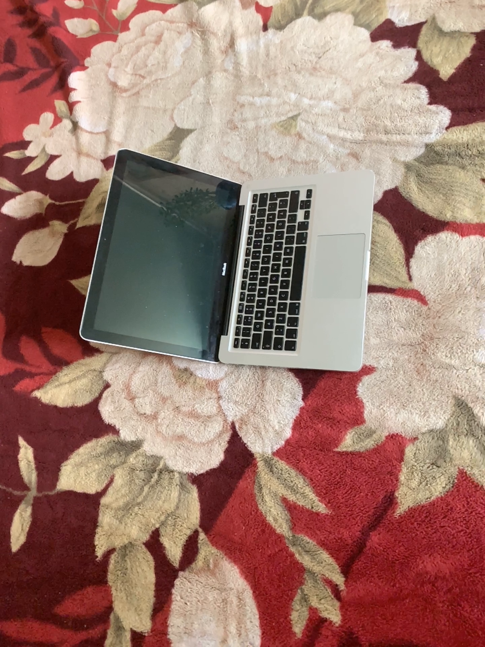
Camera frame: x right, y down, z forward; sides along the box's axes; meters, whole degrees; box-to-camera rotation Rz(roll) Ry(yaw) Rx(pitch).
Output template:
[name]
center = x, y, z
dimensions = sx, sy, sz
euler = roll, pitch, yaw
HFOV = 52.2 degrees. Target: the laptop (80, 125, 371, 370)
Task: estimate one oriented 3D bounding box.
[laptop]
center = -0.018, -0.108, 0.750
dimensions = 0.388, 0.116, 0.317
euler = 2, 76, 18
